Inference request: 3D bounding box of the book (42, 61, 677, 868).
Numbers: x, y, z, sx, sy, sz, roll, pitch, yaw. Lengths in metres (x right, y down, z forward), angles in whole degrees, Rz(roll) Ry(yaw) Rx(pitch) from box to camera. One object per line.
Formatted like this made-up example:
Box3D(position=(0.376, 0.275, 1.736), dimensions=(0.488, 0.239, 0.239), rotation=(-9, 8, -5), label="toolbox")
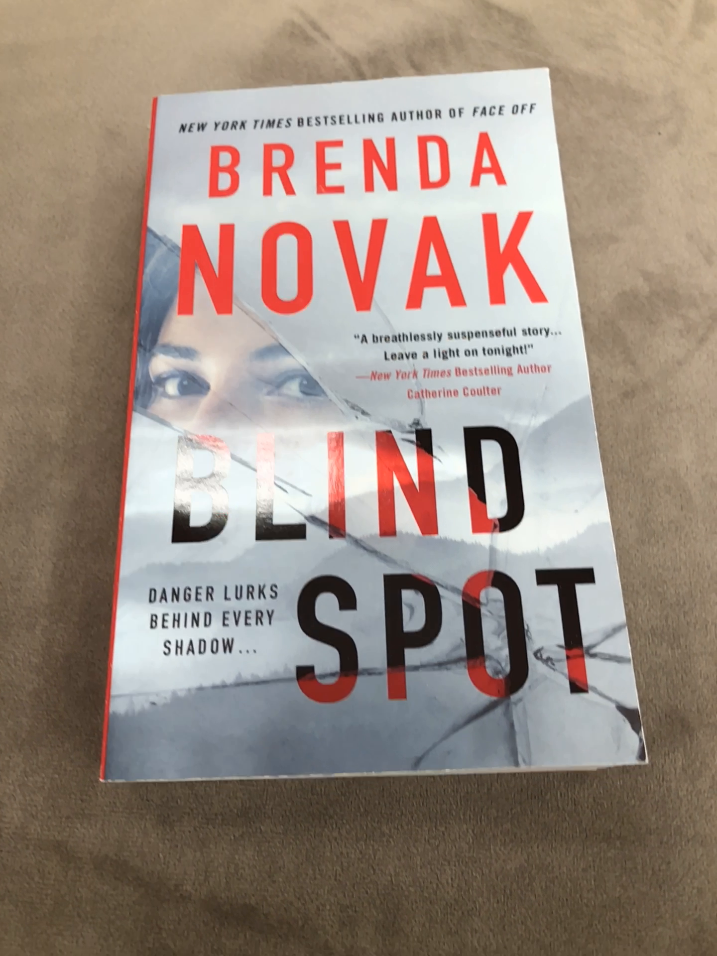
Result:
Box3D(position=(-0.003, -0.009, 0.208), dimensions=(0.120, 0.050, 0.190), rotation=(-4, 69, 5), label="book")
